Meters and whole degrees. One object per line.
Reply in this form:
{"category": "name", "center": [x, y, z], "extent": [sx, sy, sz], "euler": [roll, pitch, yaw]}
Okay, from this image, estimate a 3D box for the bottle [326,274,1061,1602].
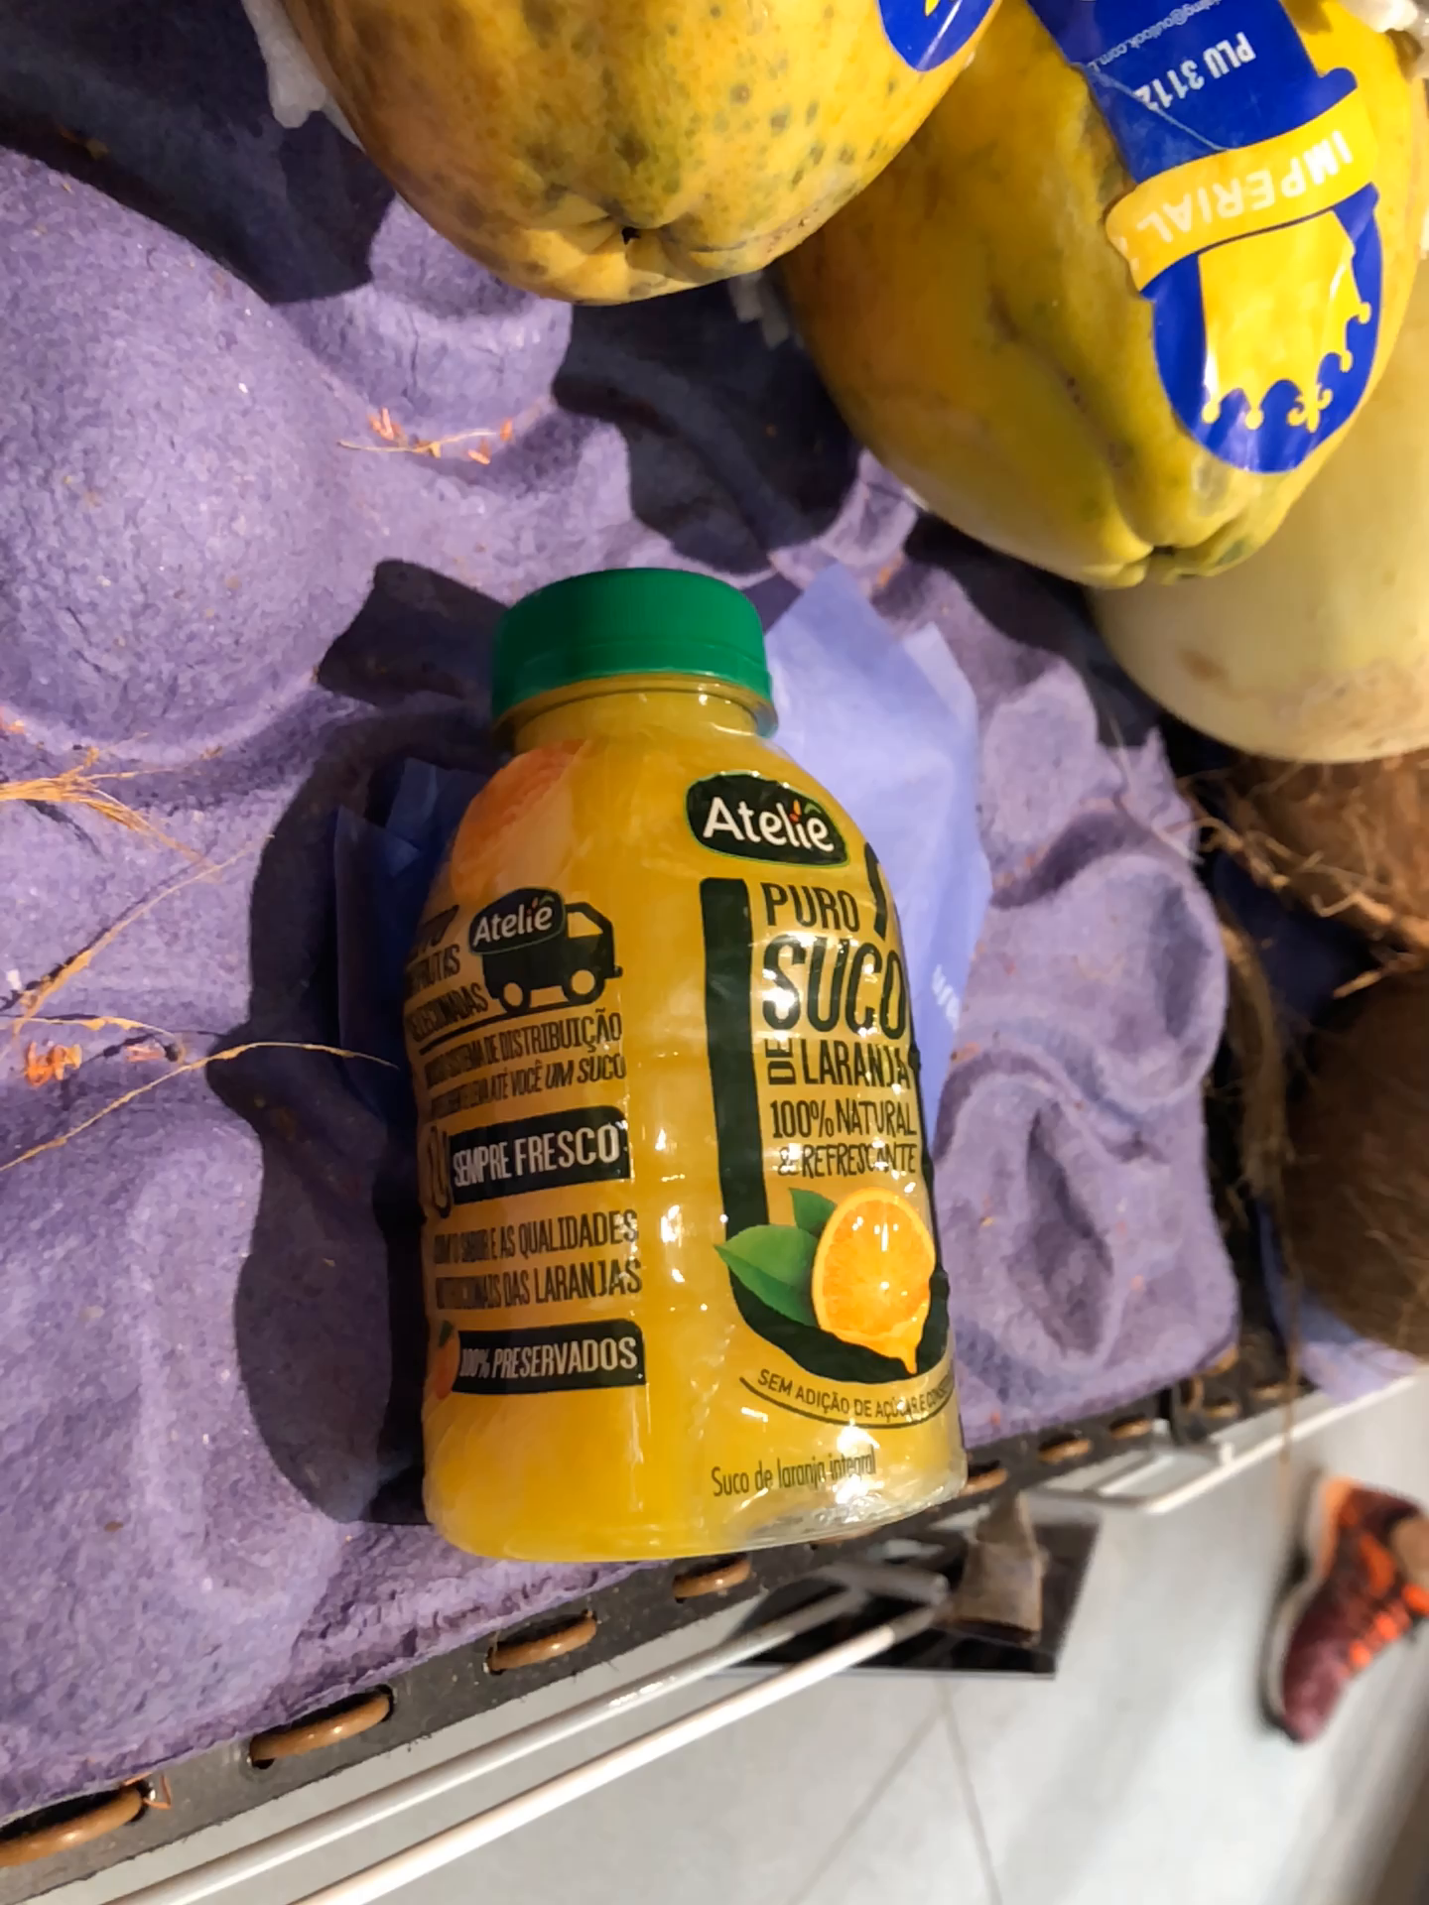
{"category": "bottle", "center": [-0.002, 0.000, 0.214], "extent": [0.070, 0.060, 0.140], "euler": [3, 82, -50]}
